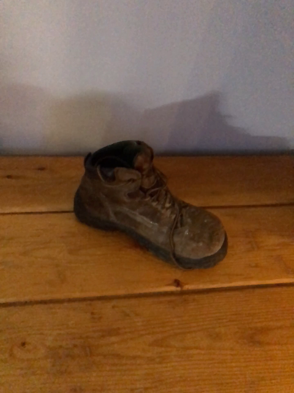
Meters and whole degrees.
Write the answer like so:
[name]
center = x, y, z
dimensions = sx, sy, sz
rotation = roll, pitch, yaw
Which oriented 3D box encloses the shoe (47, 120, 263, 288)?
[shoe]
center = 0.012, 0.009, 0.521
dimensions = 0.290, 0.130, 0.130
rotation = 19, 50, 9
